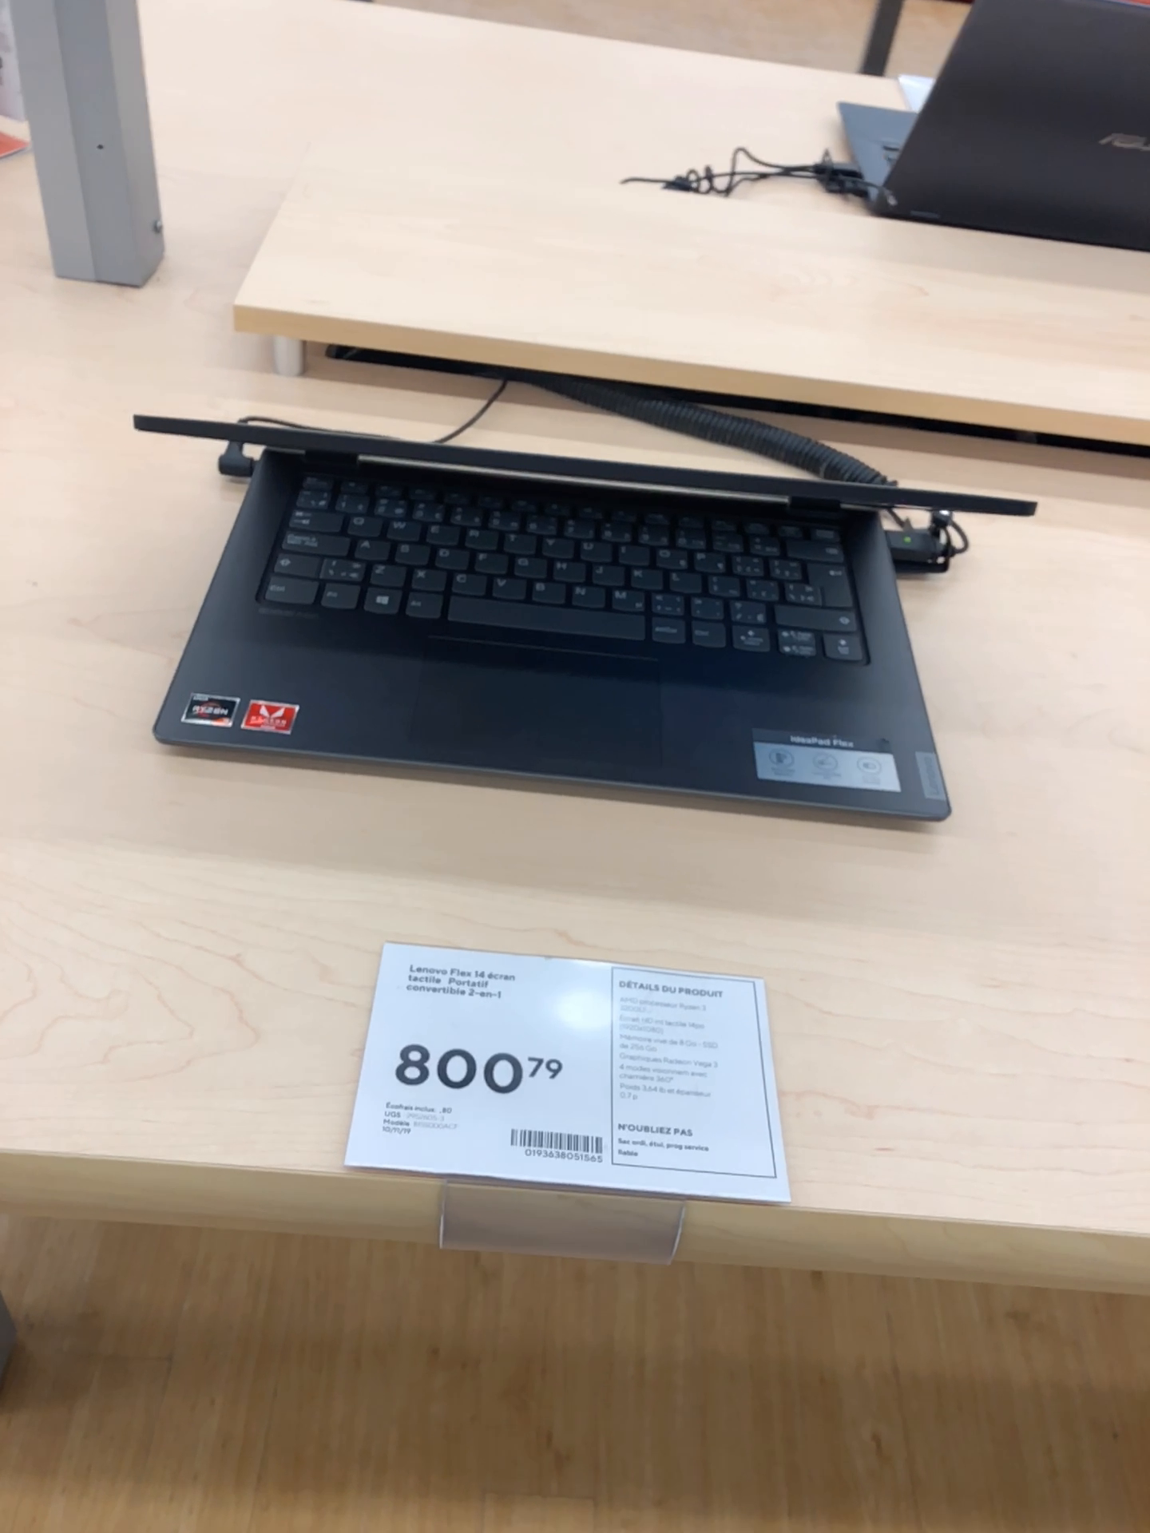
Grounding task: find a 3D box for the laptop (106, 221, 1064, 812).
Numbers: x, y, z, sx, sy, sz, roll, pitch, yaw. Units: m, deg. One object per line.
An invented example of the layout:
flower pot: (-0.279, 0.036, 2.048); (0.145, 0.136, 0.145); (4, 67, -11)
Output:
laptop: (0.005, -0.118, 0.561); (0.331, 0.121, 0.229); (6, 44, -3)
